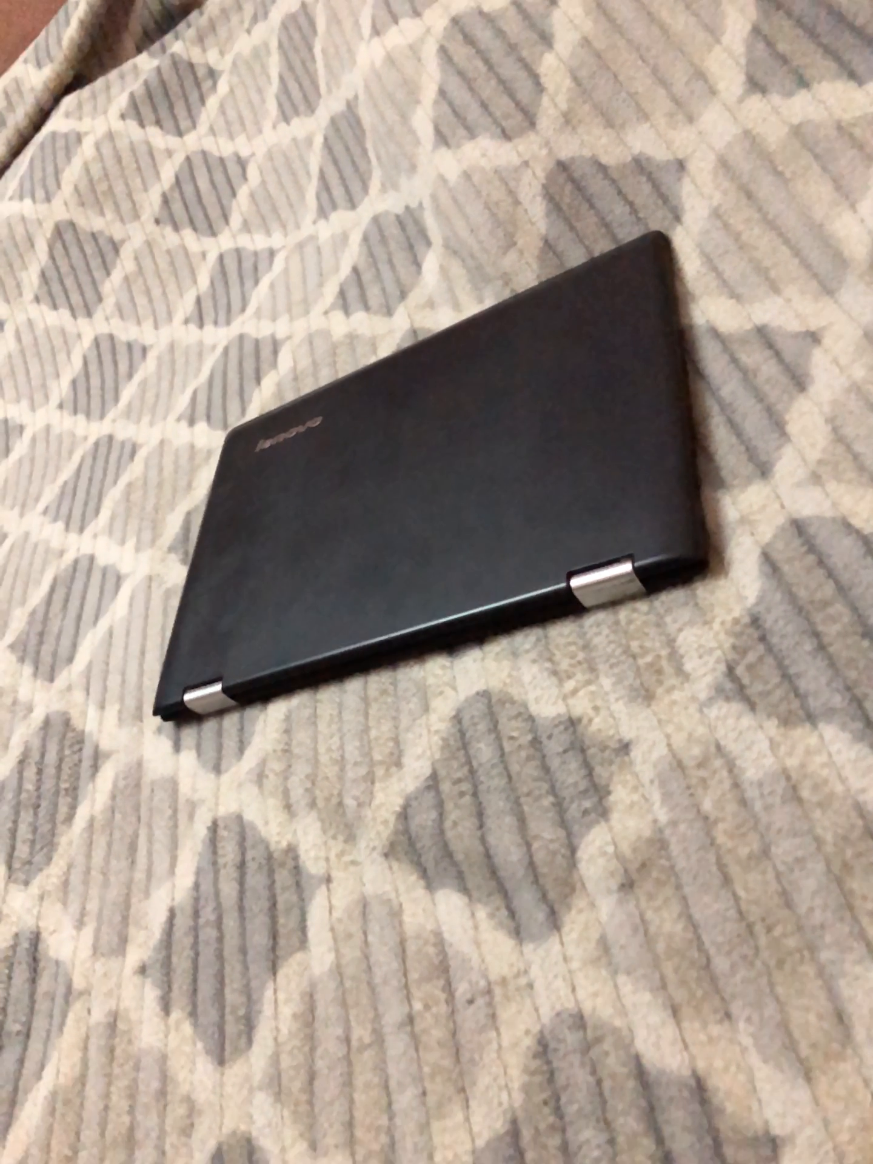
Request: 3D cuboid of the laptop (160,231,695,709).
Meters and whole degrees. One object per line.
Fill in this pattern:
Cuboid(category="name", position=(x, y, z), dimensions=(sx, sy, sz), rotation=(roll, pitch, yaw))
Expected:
Cuboid(category="laptop", position=(-0.020, -0.063, 0.579), dimensions=(0.340, 0.005, 0.231), rotation=(-18, 50, 28))
